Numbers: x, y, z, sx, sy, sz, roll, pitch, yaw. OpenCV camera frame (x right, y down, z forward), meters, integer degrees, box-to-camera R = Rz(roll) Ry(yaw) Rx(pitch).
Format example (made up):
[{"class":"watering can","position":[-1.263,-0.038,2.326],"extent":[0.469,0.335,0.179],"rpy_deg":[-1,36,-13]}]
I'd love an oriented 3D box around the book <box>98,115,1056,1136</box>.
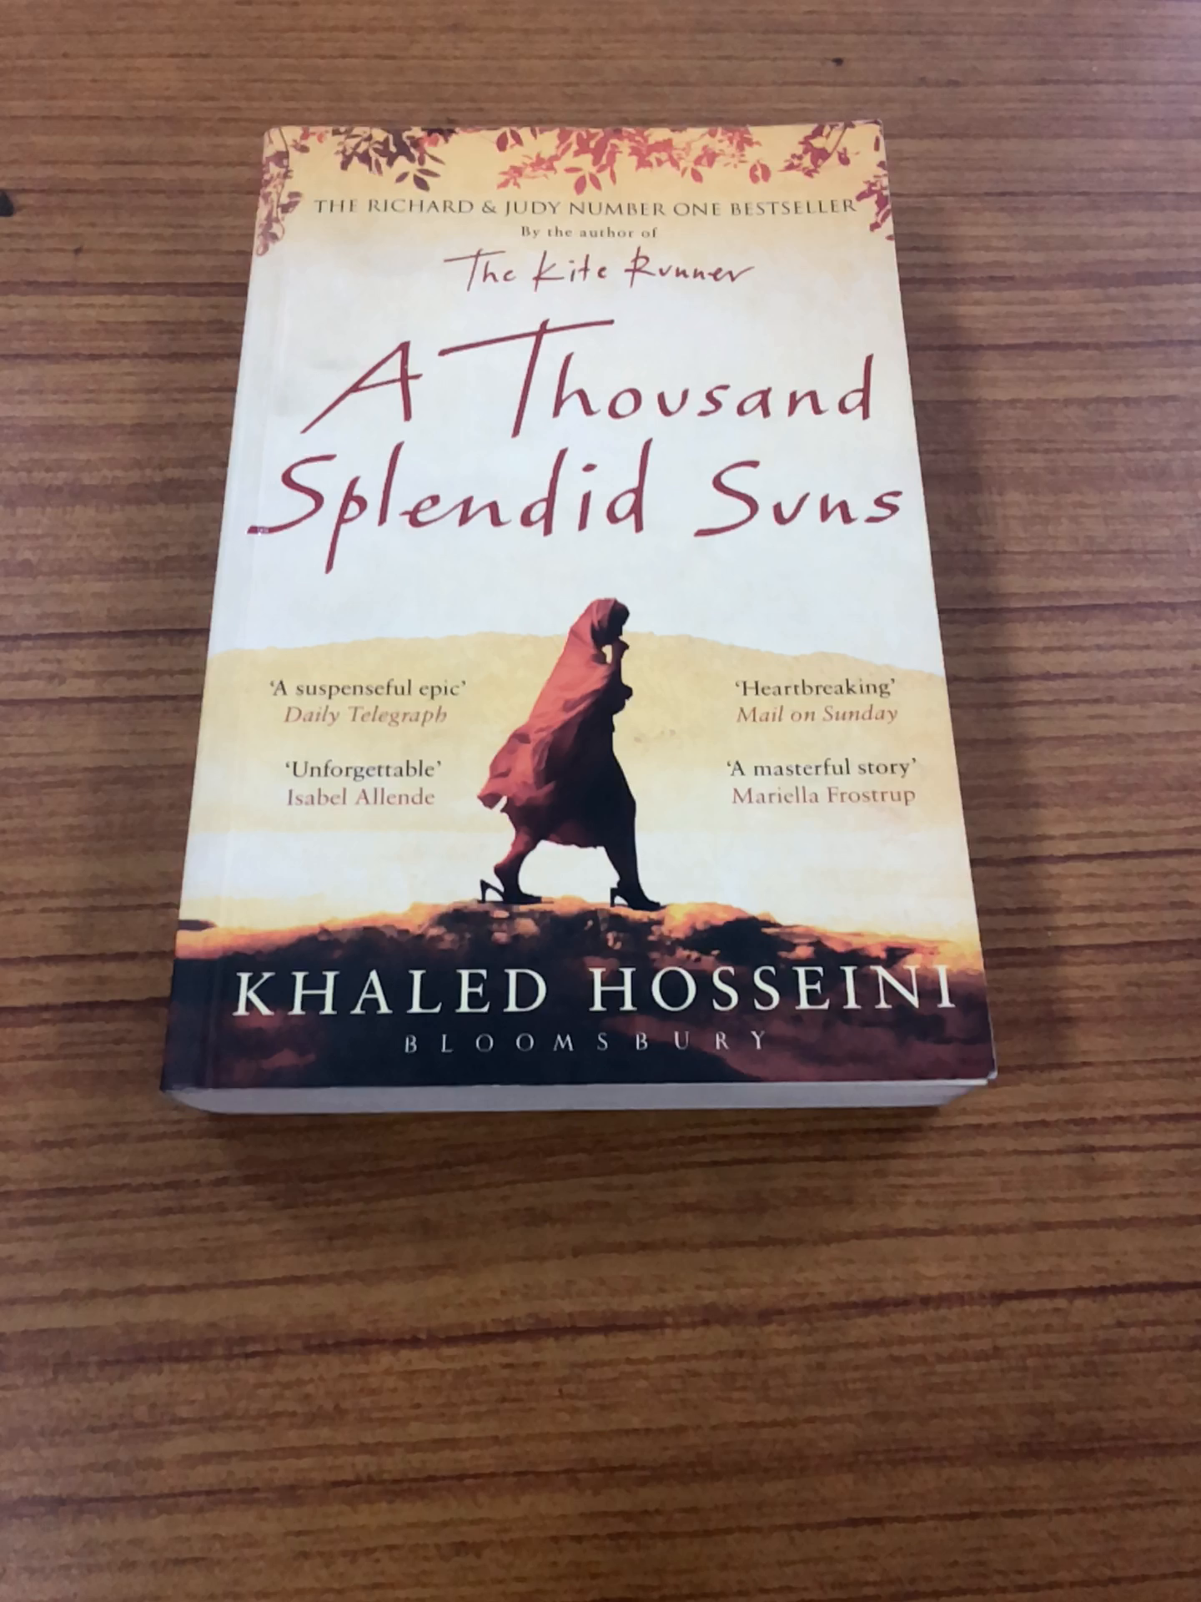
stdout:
[{"class":"book","position":[-0.005,-0.039,0.244],"extent":[0.140,0.030,0.190],"rpy_deg":[0,69,-3]}]
